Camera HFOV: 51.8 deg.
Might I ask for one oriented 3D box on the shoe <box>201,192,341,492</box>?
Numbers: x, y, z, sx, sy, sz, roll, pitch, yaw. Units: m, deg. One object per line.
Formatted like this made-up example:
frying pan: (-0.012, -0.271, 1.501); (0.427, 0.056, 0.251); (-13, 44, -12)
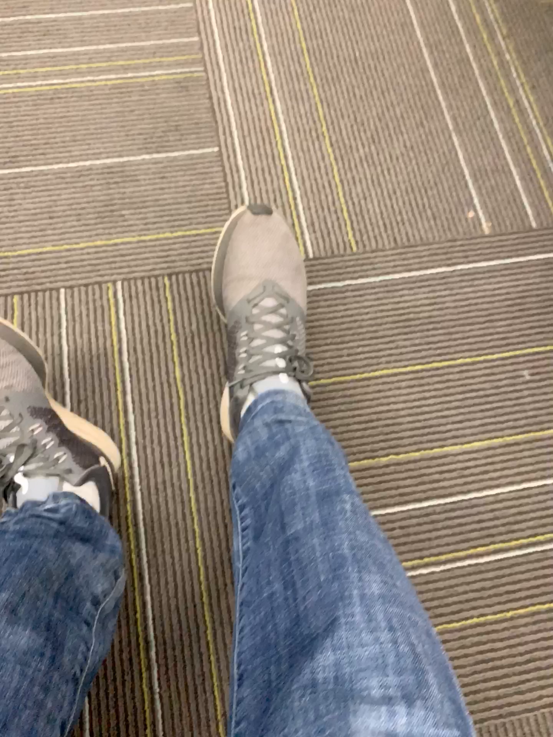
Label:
shoe: (-0.007, -0.035, 0.613); (0.119, 0.122, 0.294); (-5, 108, -10)

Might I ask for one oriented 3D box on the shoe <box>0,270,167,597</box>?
shoe: (-0.236, 0.075, 0.552); (0.119, 0.293, 0.122); (-28, 40, -4)
